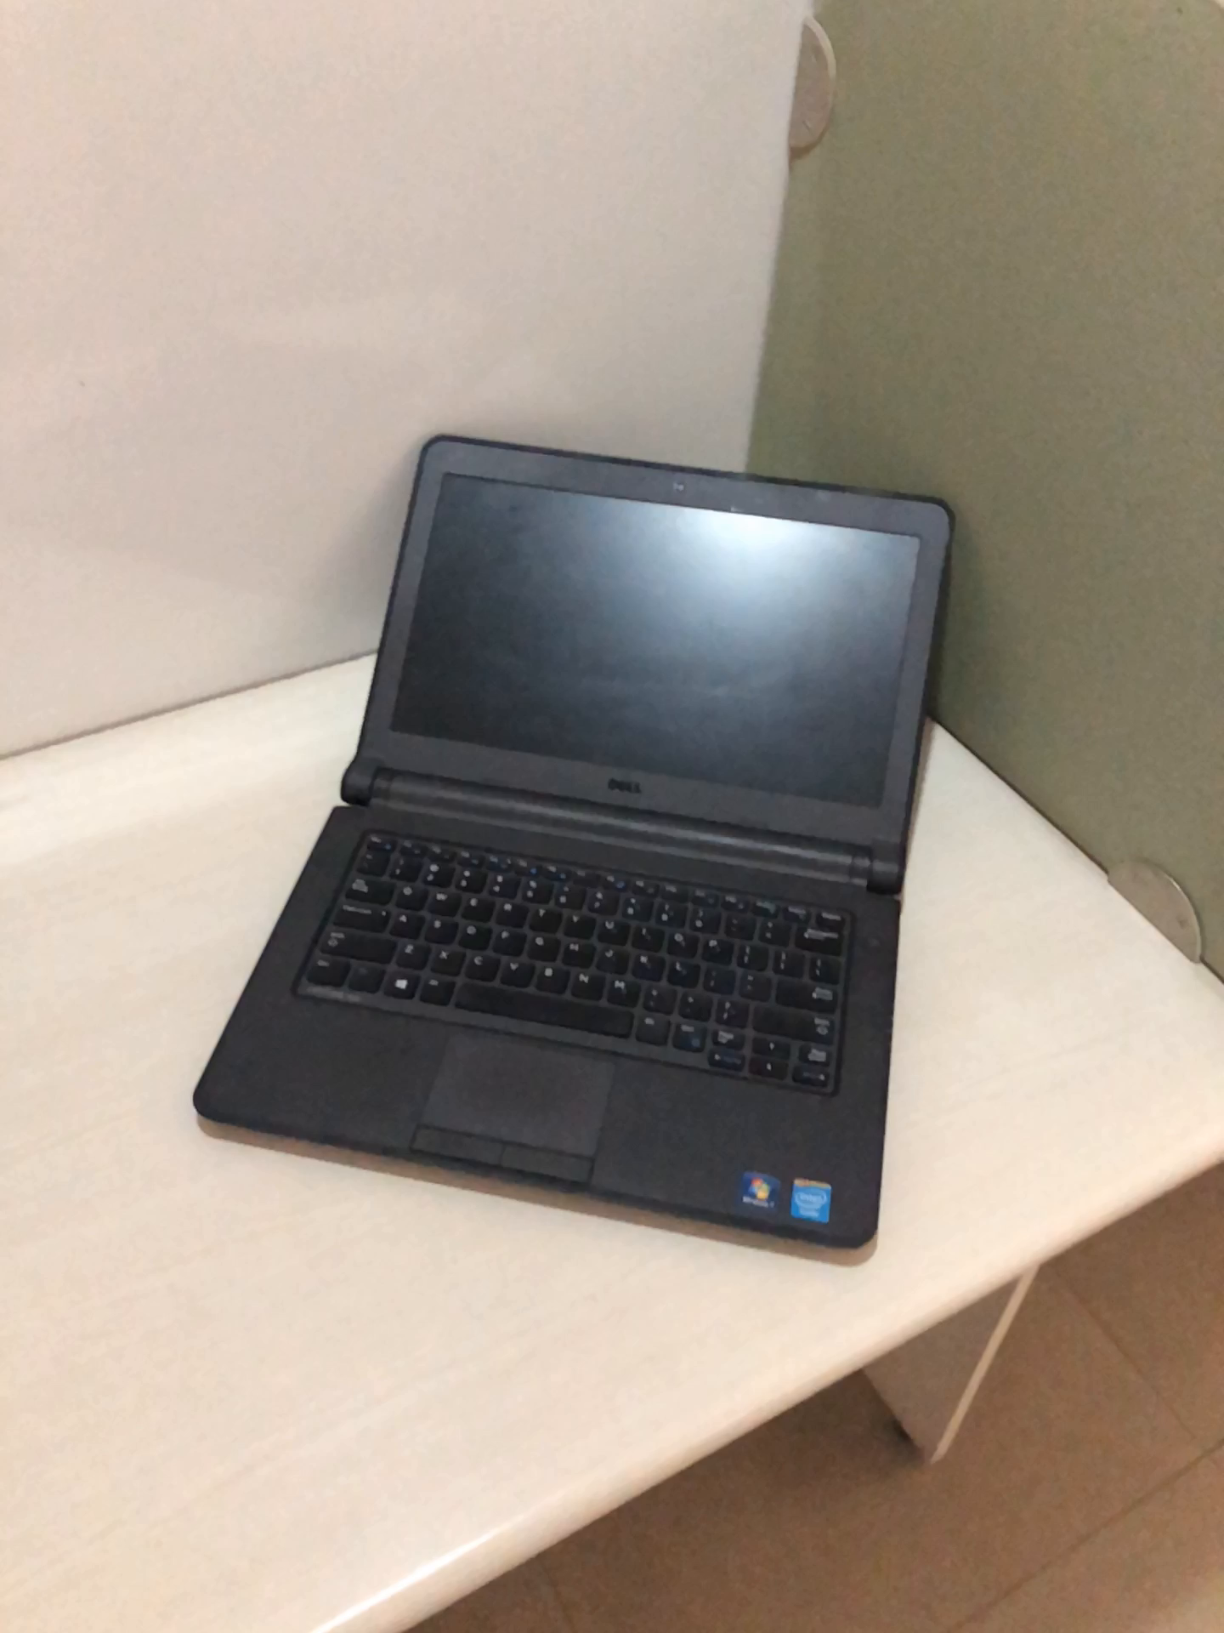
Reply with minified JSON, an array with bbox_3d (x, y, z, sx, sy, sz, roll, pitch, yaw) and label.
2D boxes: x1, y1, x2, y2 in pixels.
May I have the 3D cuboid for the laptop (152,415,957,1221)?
[{"bbox_3d":[0.002,-0.033,0.705,0.309,0.128,0.397,9,47,8],"label":"laptop"}]
